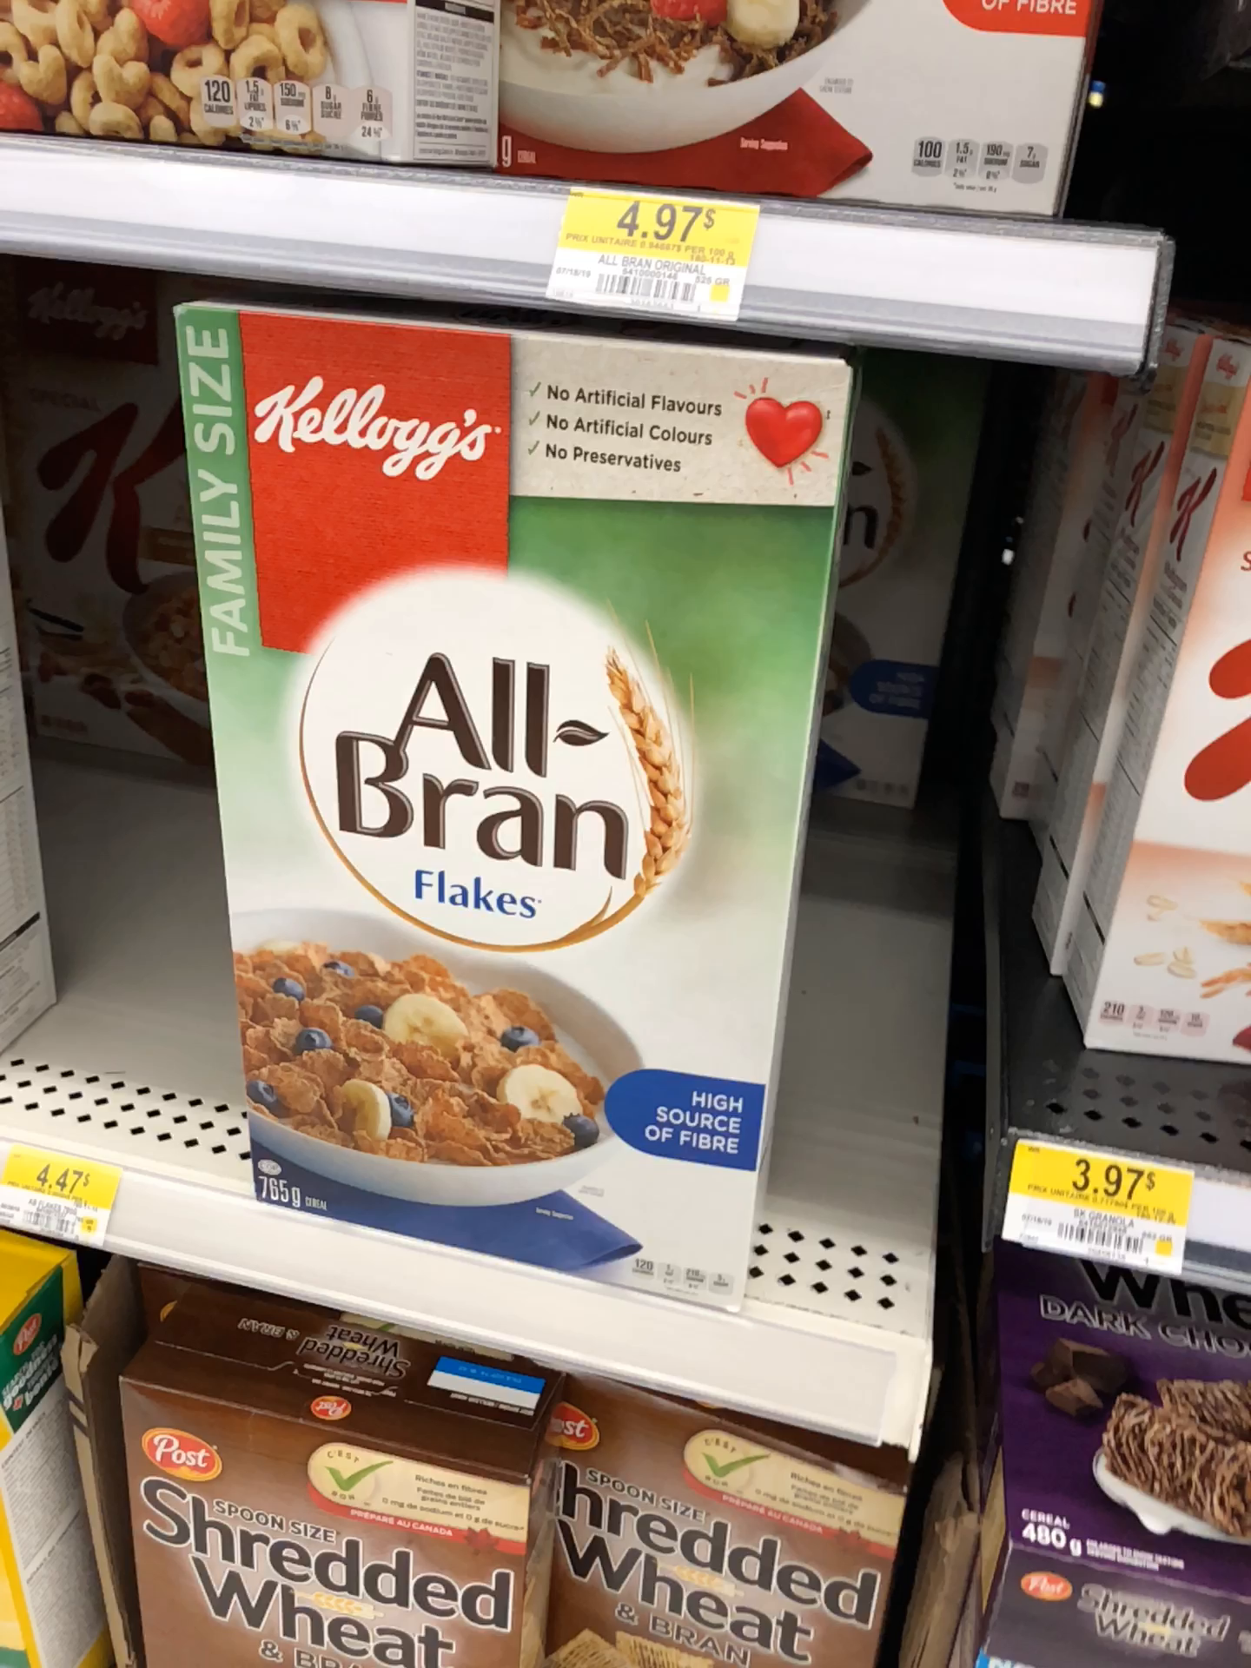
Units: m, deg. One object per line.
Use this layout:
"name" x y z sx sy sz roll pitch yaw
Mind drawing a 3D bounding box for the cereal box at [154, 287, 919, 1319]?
"cereal box" -0.032 -0.006 0.474 0.210 0.318 0.081 9 26 11
